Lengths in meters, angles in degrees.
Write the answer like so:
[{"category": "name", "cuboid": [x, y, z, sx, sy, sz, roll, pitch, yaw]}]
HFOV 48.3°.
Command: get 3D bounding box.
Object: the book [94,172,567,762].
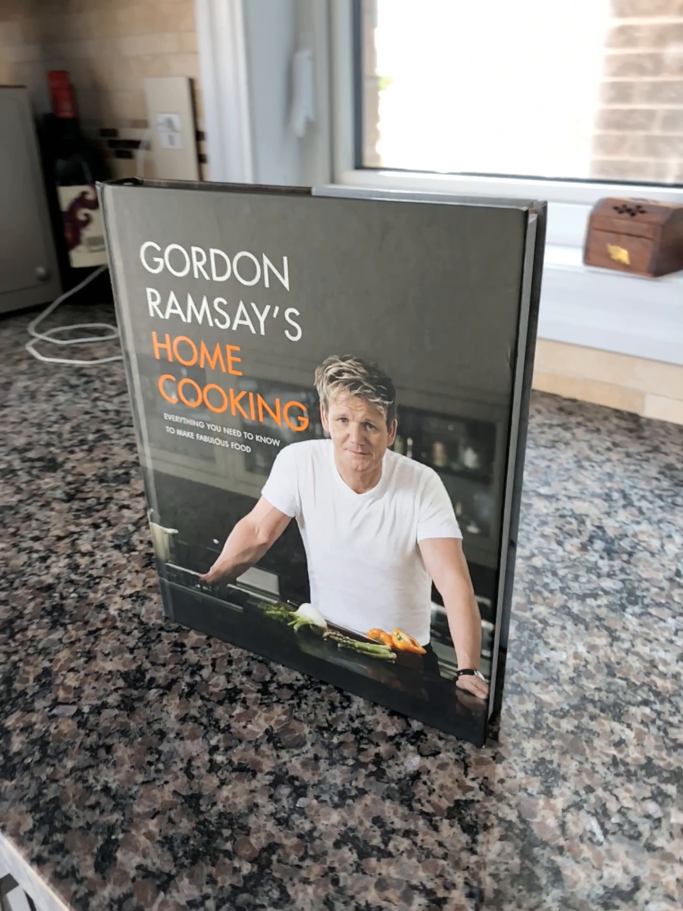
[{"category": "book", "cuboid": [-0.014, 0.003, 0.377, 0.217, 0.261, 0.028, 14, 29, 28]}]
